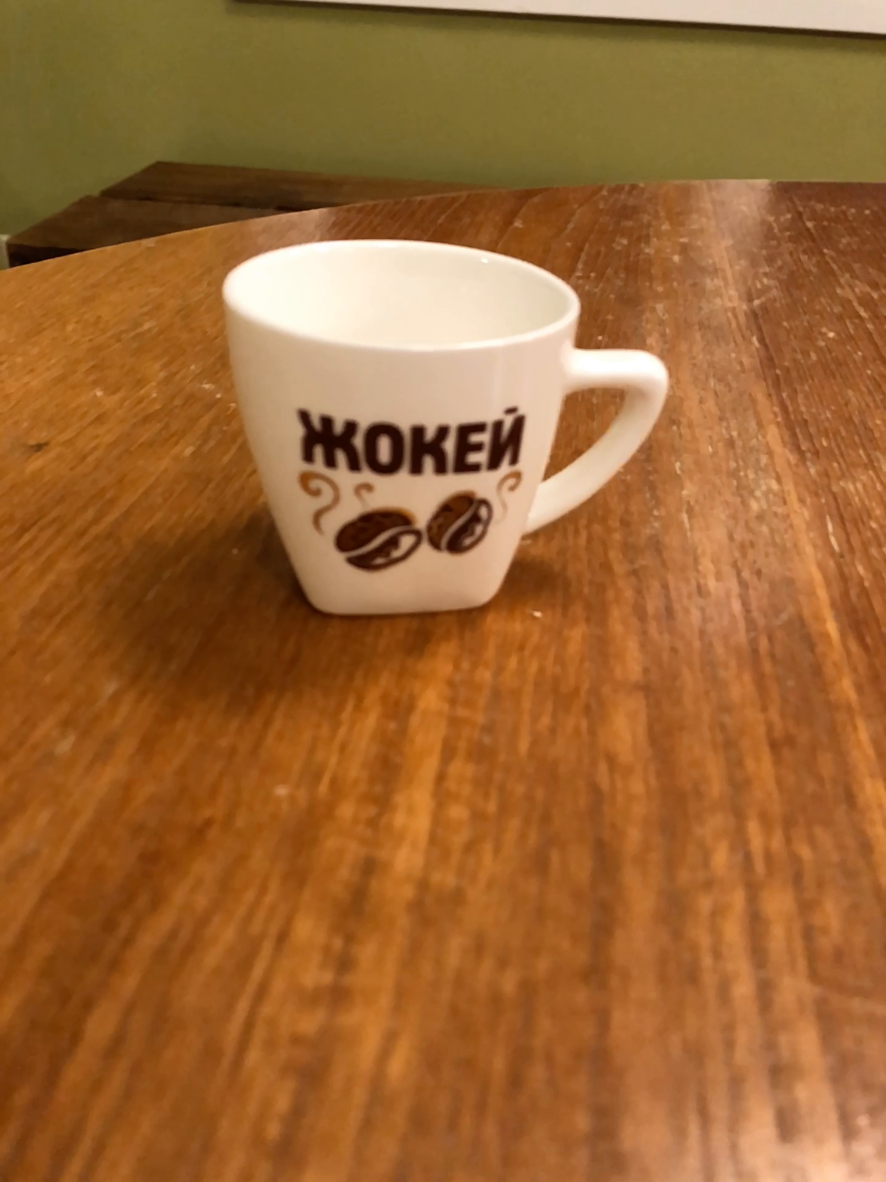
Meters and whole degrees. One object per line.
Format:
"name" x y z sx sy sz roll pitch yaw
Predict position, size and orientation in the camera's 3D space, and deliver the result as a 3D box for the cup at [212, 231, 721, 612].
"cup" 0.000 -0.034 0.181 0.075 0.047 0.060 -2 35 -7
